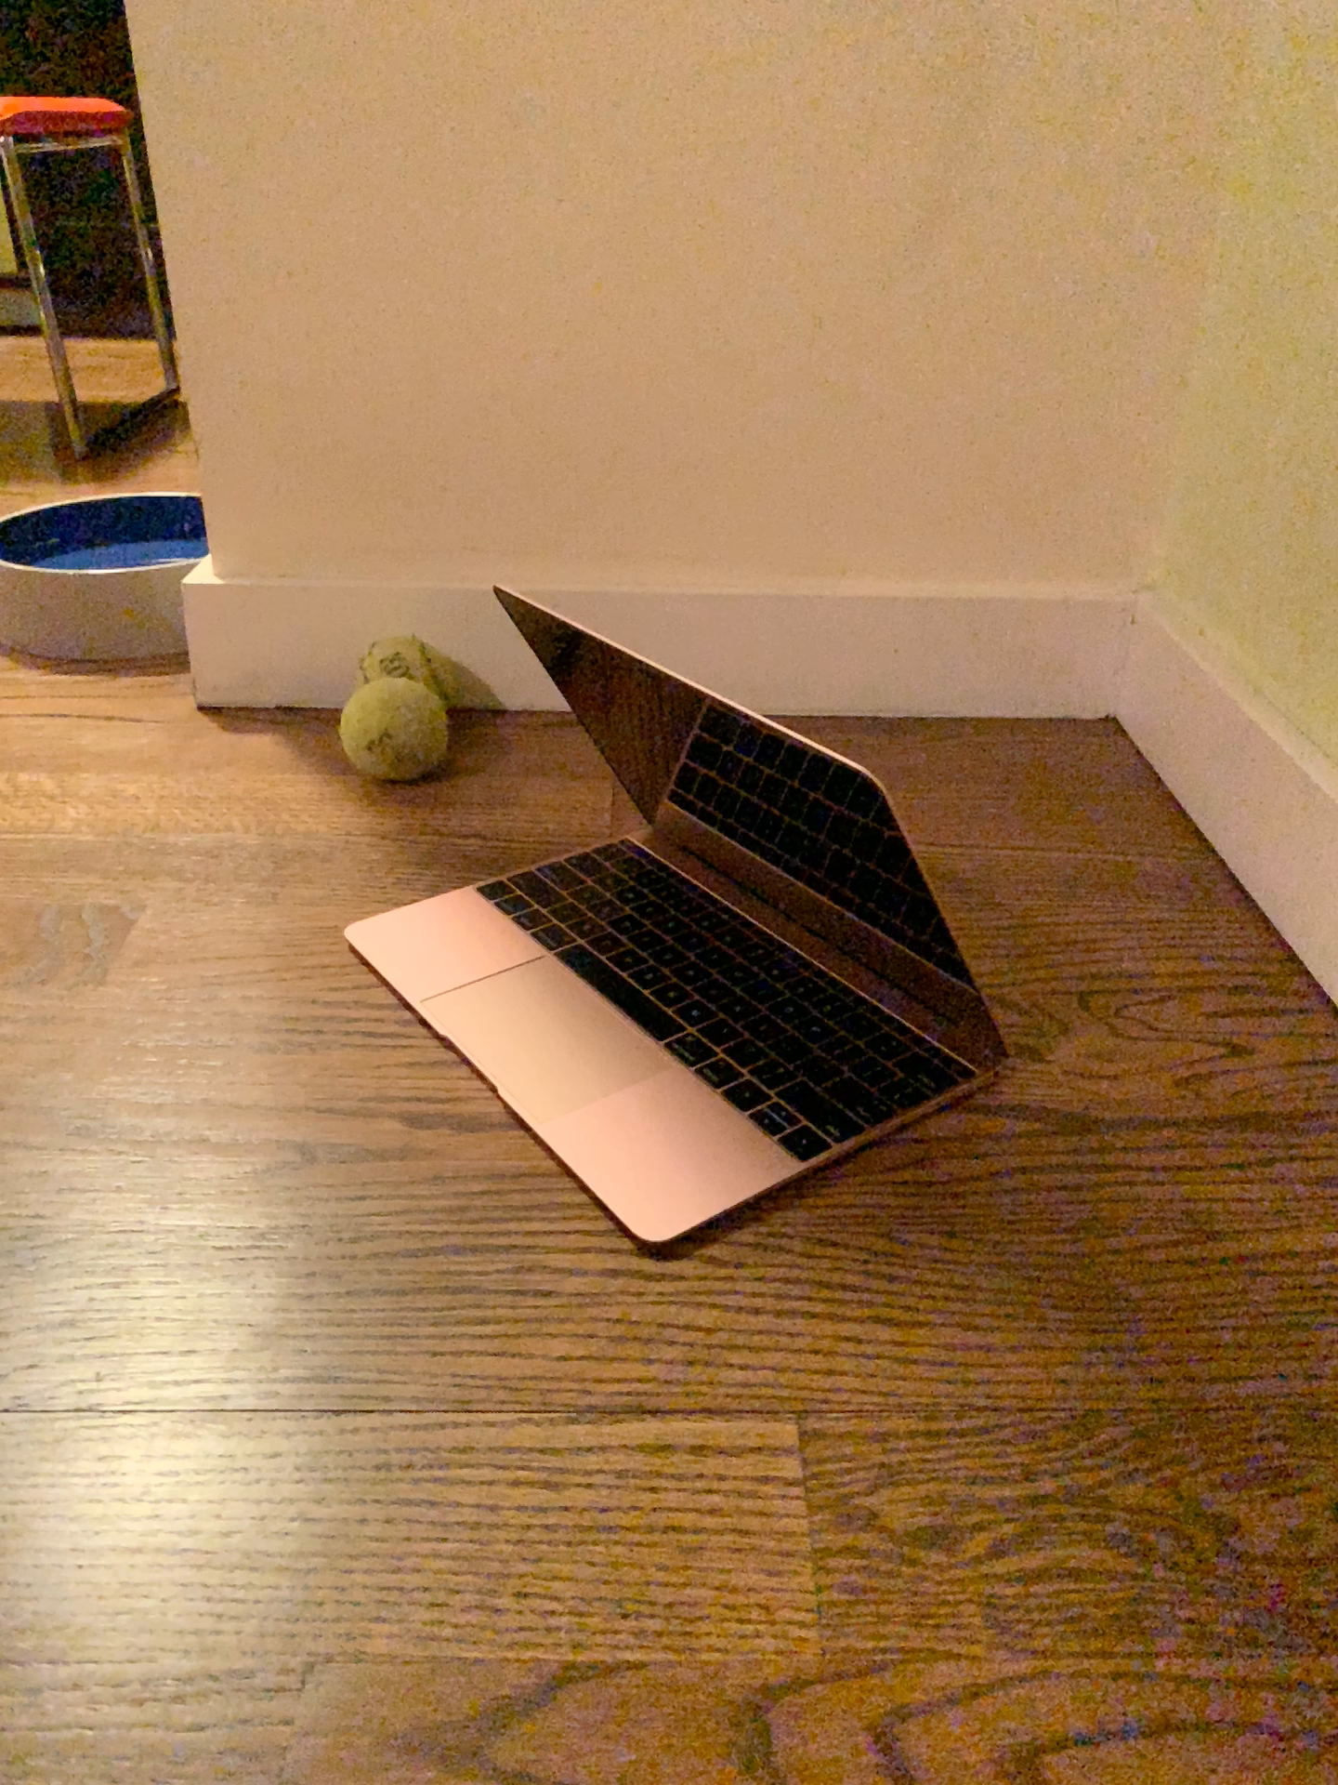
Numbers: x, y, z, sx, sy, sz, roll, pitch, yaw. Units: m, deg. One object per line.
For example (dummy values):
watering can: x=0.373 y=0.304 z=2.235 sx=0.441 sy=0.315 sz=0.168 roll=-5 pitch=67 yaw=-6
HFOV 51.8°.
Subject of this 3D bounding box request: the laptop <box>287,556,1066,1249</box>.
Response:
laptop: x=-0.011 y=-0.024 z=0.637 sx=0.206 sy=0.168 sz=0.289 roll=-19 pitch=34 yaw=-31
